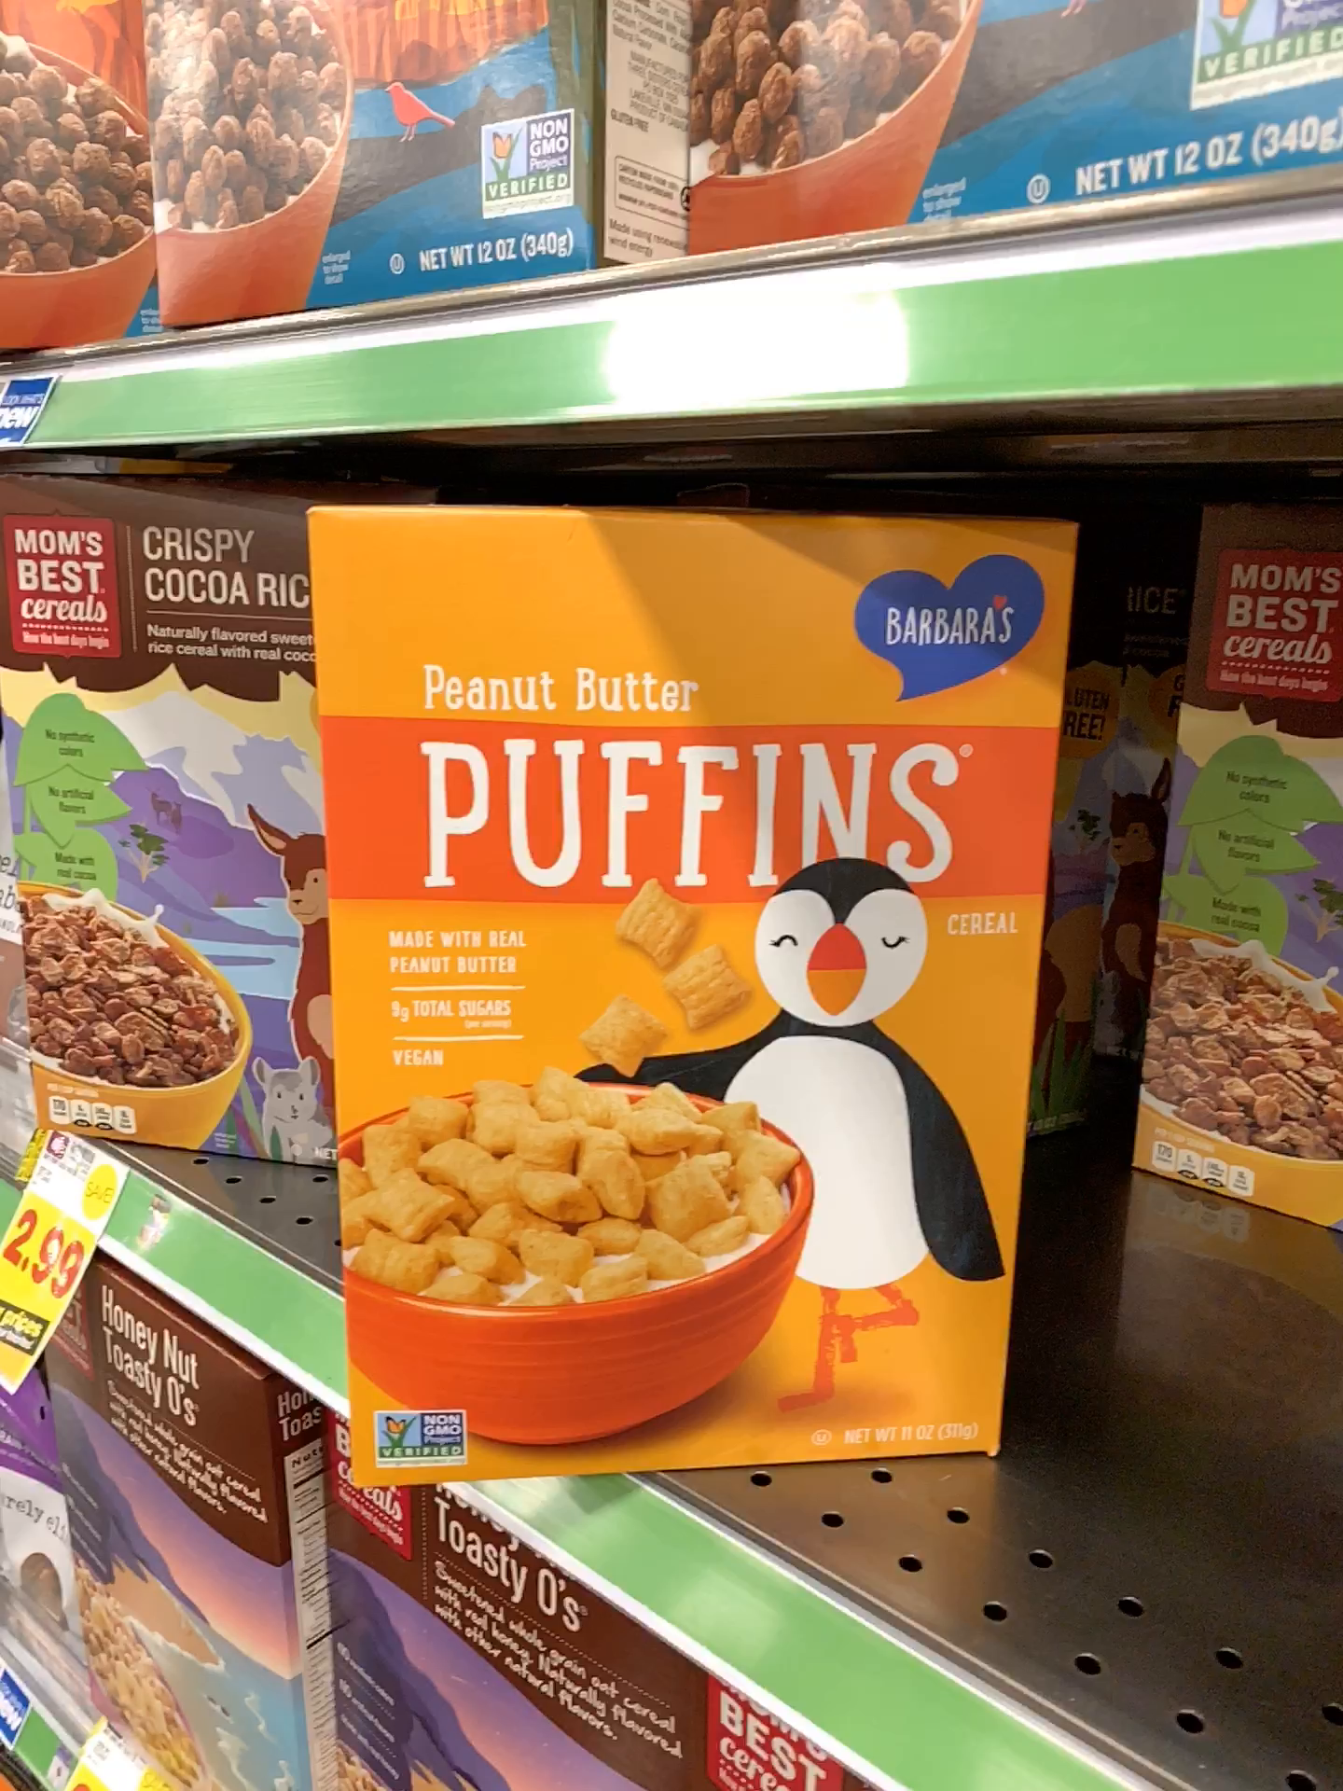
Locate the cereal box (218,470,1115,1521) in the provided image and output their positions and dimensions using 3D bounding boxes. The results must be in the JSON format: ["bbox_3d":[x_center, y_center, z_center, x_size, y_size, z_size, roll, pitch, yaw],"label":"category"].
[{"bbox_3d":[-0.005,0.030,0.396,0.220,0.279,0.060,0,14,-9],"label":"cereal box"}]
